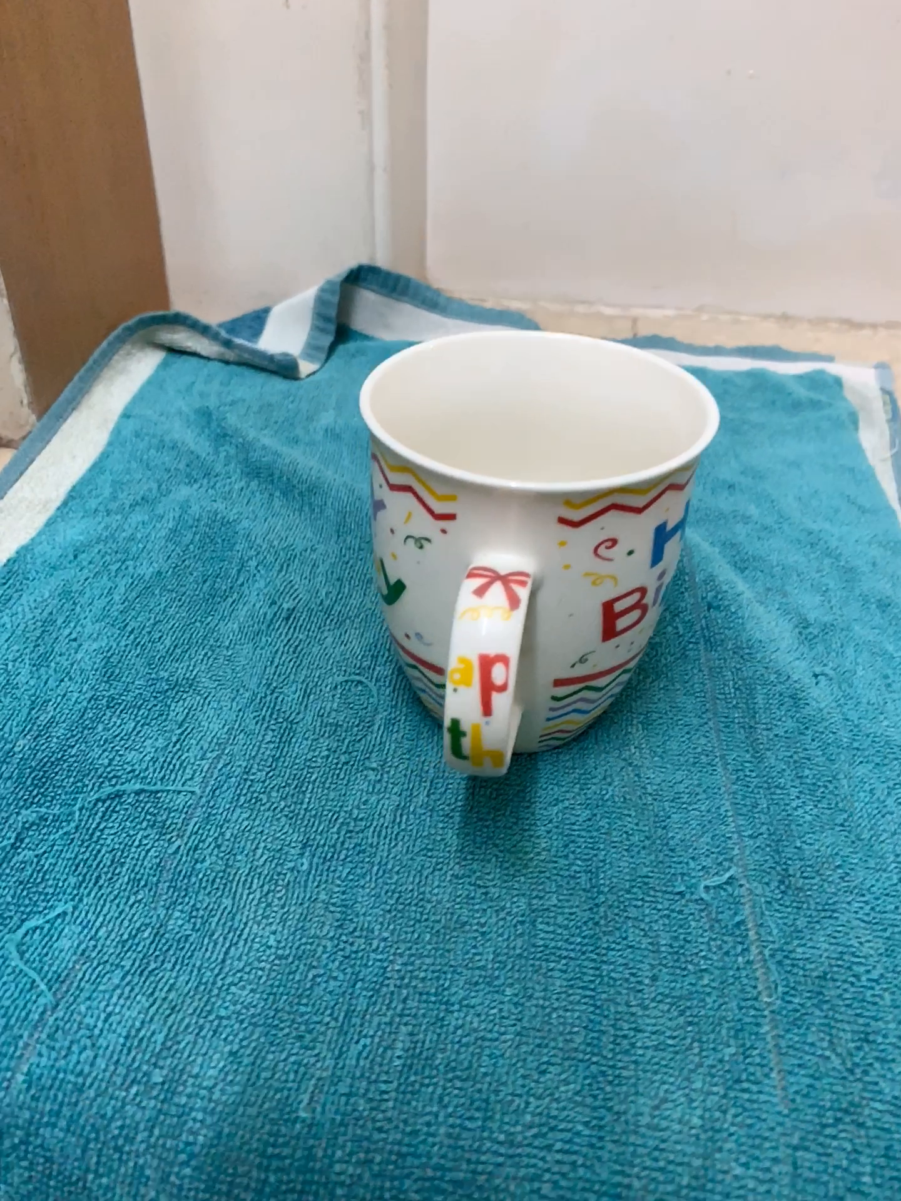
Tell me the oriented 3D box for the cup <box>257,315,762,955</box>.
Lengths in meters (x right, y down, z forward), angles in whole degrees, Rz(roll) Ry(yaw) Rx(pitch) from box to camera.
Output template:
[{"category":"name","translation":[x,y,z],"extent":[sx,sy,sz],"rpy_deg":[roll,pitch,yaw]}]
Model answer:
[{"category":"cup","translation":[0.019,-0.001,0.247],"extent":[0.090,0.099,0.131],"rpy_deg":[7,36,7]}]
